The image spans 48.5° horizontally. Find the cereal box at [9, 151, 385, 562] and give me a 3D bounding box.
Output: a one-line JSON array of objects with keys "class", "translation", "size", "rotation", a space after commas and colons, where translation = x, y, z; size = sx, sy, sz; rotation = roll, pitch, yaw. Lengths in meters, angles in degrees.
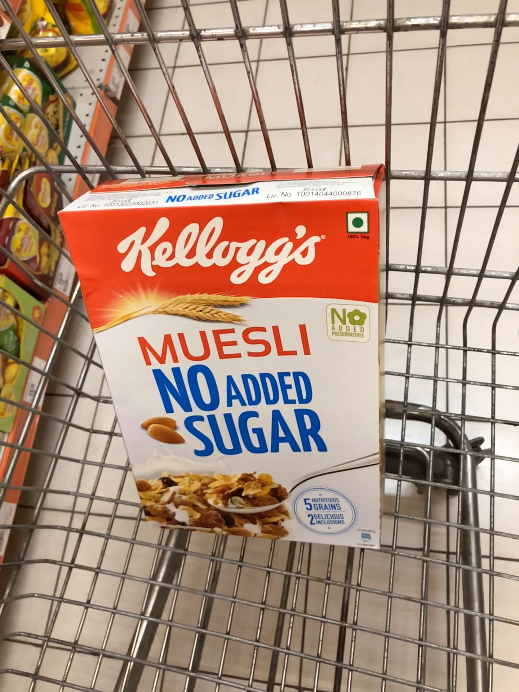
[{"class": "cereal box", "translation": [-0.018, 0.019, 0.377], "size": [0.190, 0.259, 0.070], "rotation": [1, 33, 13]}]
